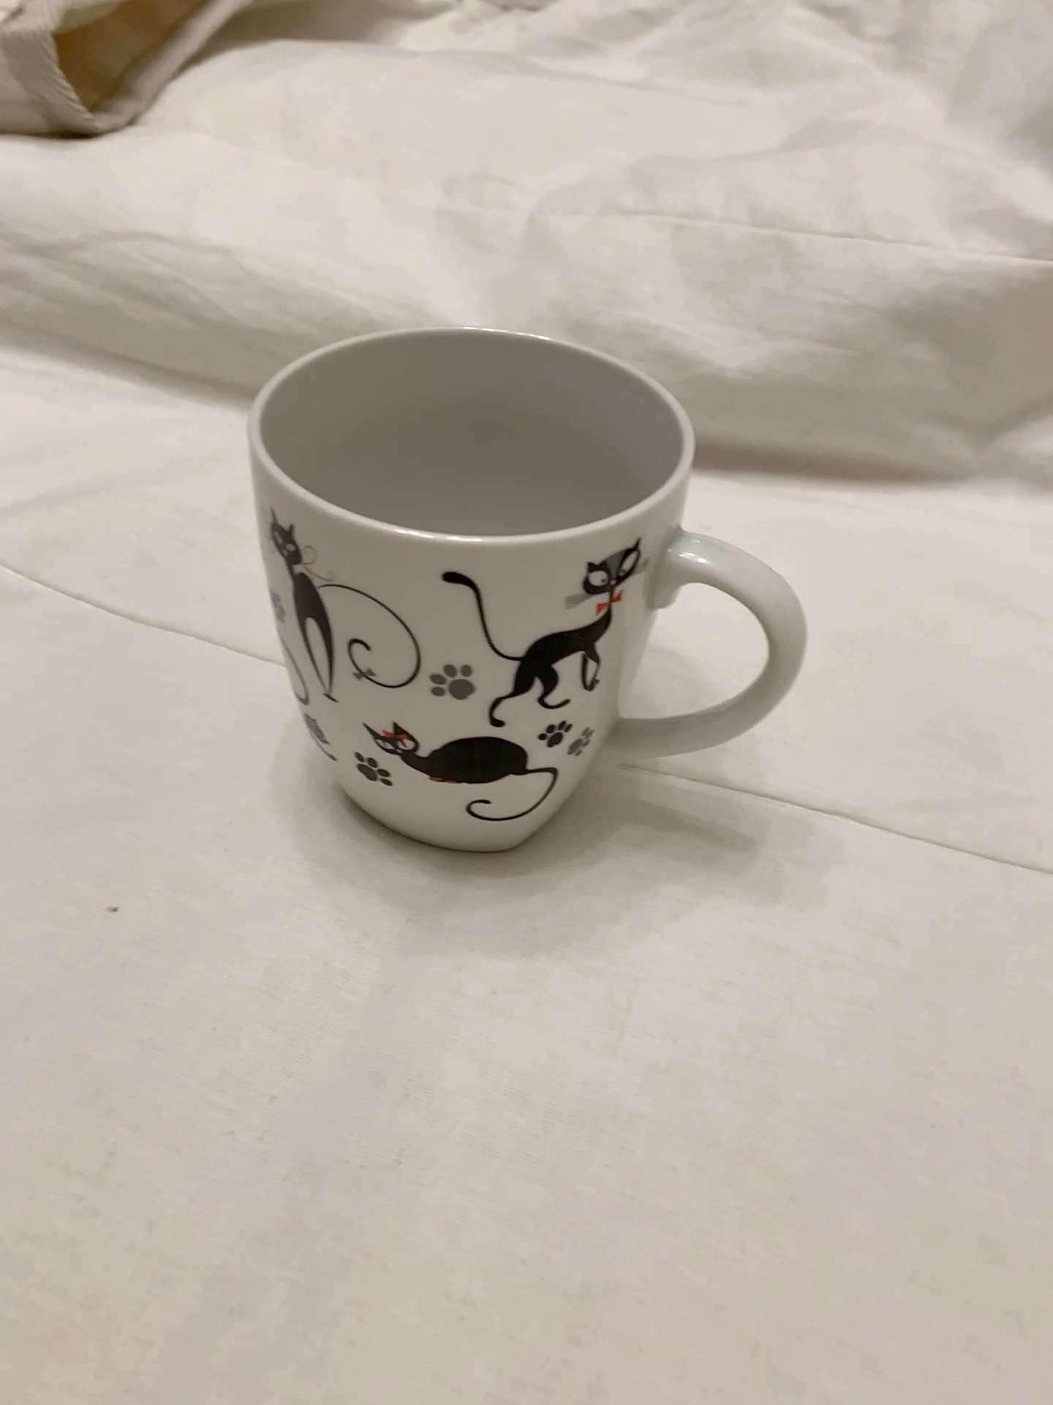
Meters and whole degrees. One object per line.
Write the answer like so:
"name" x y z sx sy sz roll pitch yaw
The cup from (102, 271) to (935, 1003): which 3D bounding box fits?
"cup" 0.000 -0.020 0.214 0.119 0.077 0.081 22 46 22
